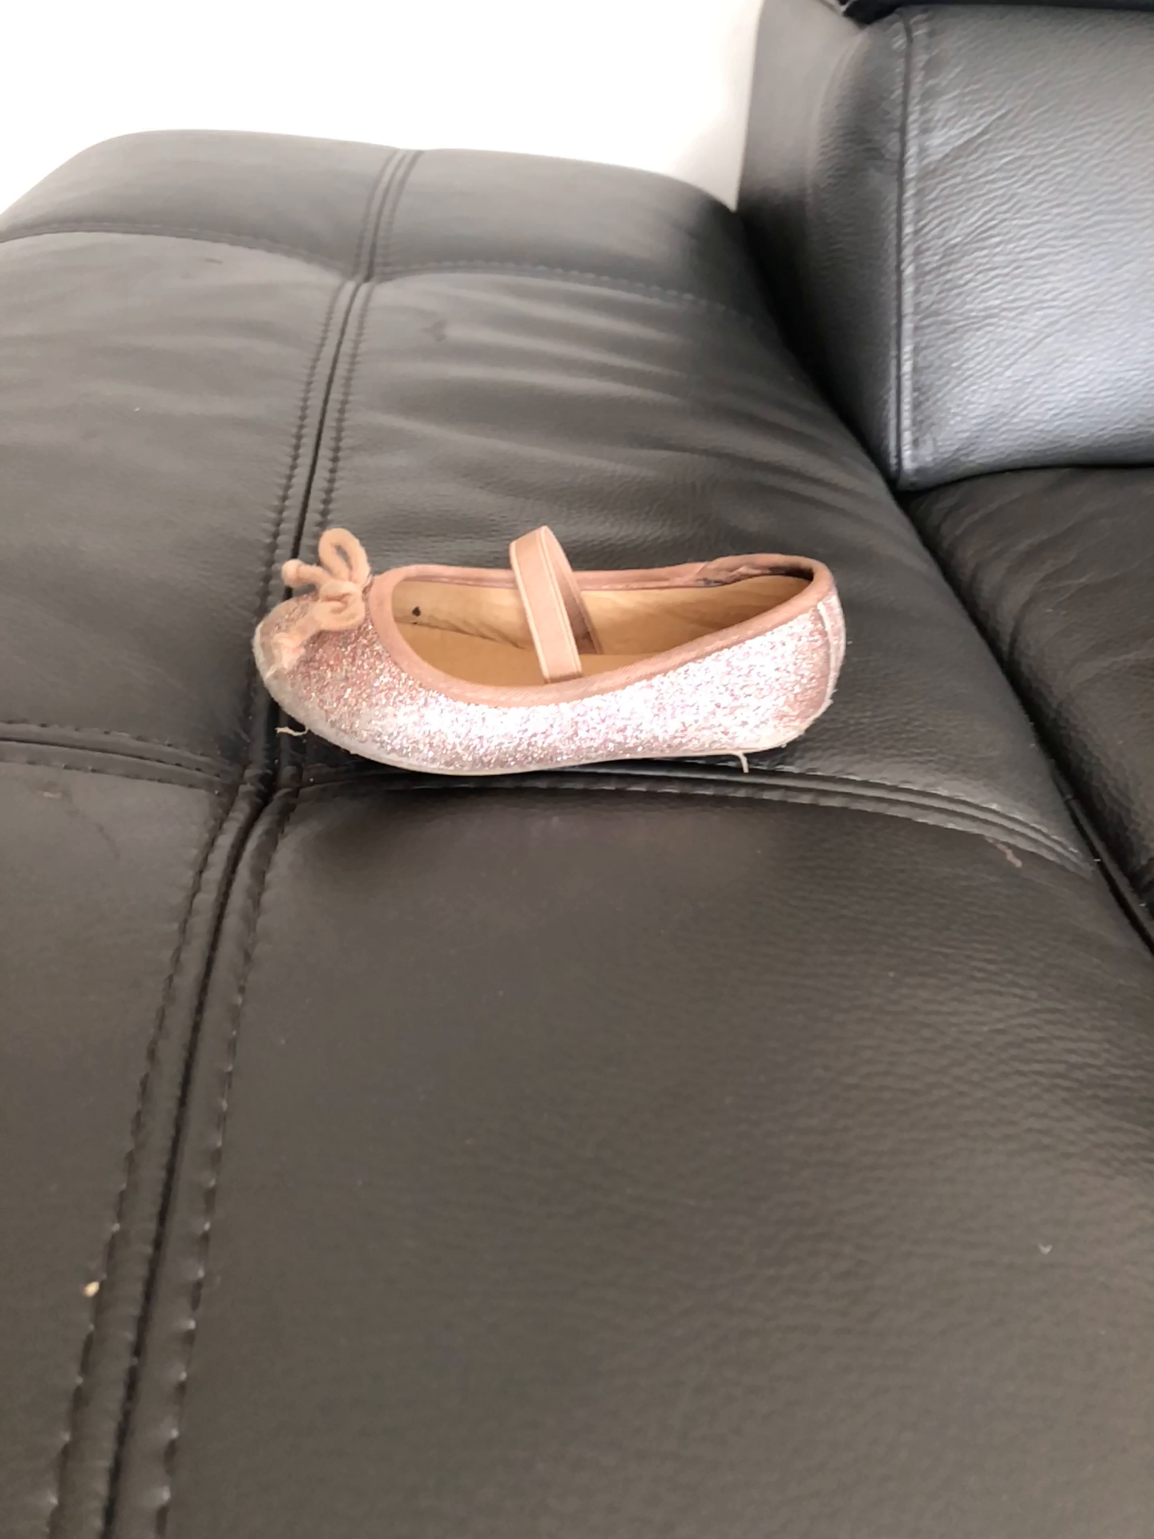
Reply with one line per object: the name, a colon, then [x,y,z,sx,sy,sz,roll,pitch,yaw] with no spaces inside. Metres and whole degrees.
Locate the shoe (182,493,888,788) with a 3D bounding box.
shoe: [-0.011,-0.036,0.327,0.160,0.040,0.070,-2,39,-7]
